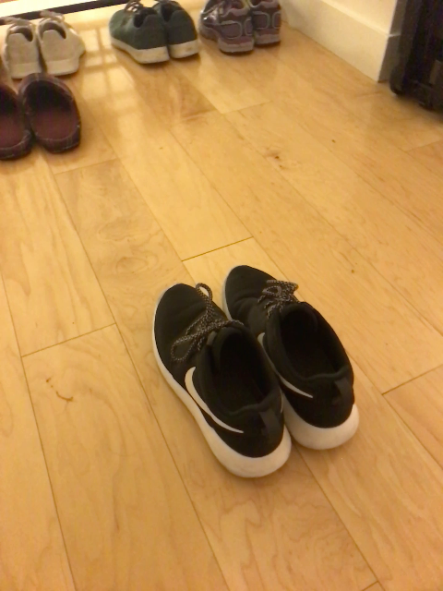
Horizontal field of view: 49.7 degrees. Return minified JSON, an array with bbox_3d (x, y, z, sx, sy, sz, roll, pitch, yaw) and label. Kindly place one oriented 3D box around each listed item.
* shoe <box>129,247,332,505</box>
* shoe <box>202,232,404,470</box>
[{"bbox_3d":[-0.004,0.075,0.554,0.110,0.089,0.271,-20,51,-17],"label":"shoe"},{"bbox_3d":[0.080,0.051,0.587,0.110,0.089,0.271,-18,50,-15],"label":"shoe"}]
